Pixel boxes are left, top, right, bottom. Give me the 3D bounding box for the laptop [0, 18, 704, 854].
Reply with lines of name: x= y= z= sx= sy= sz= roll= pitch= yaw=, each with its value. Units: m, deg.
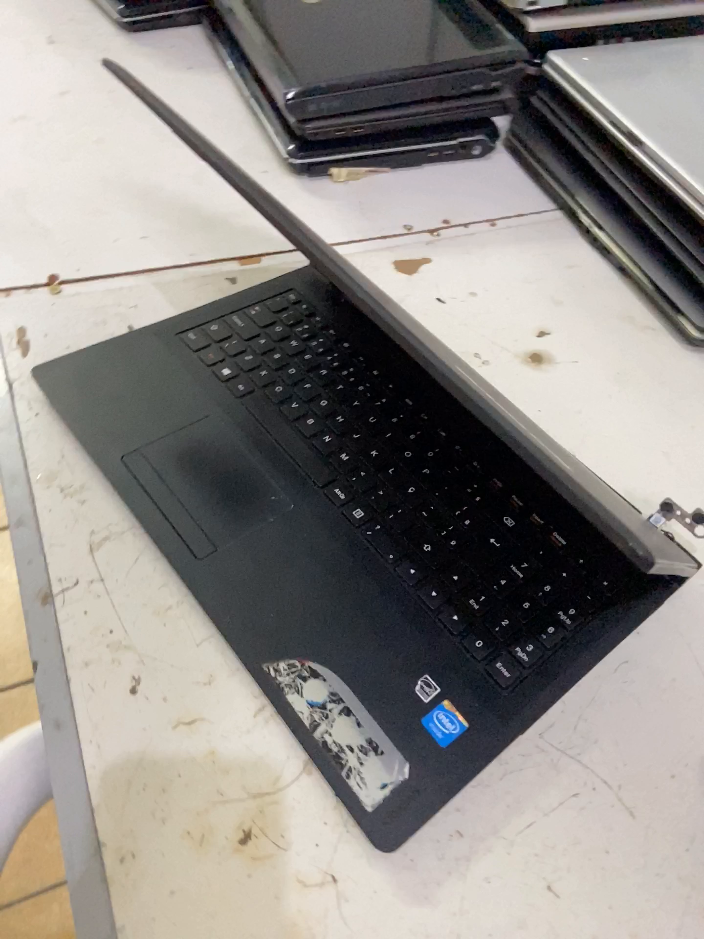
laptop: x=0.006 y=-0.057 z=0.403 sx=0.258 sy=0.189 sz=0.376 roll=-30 pitch=61 yaw=-27
